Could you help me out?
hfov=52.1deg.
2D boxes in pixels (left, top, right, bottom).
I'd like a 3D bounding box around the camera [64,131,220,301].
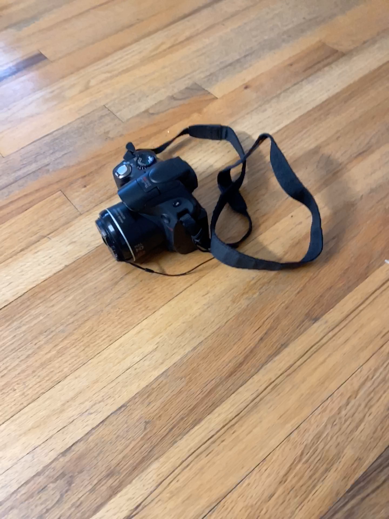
[{"bbox_3d":[-0.054,-0.050,0.459,0.120,0.110,0.110,-33,60,-15],"label":"camera"}]
